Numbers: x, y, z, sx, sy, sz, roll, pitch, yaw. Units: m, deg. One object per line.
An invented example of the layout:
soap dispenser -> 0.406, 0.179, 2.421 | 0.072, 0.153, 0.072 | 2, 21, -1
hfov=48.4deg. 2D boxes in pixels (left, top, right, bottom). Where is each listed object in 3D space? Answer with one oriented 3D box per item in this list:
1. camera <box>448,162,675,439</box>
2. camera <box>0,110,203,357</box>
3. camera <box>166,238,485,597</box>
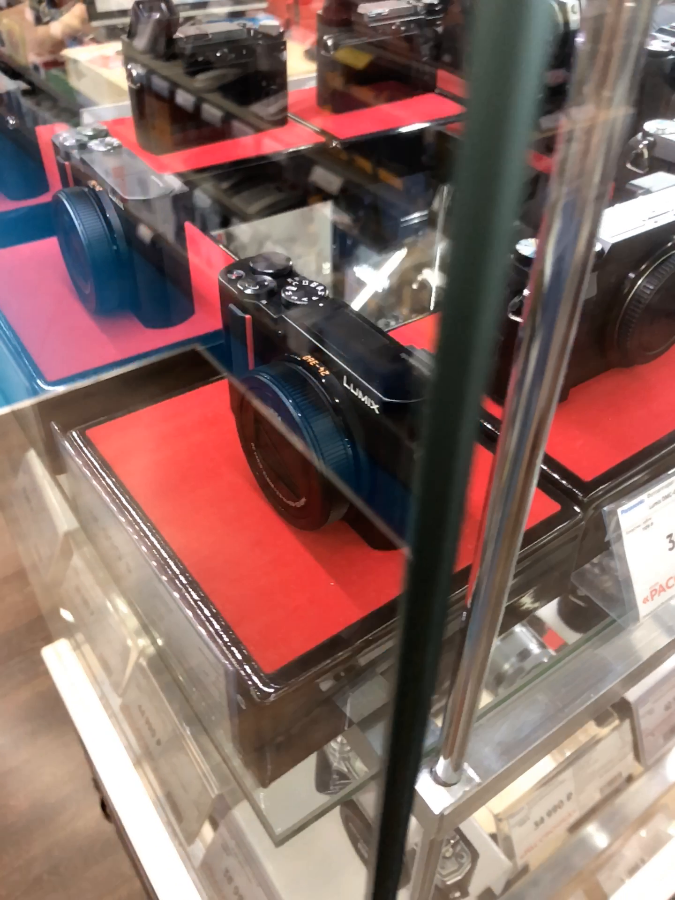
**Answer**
camera -> 0.107, -0.067, 0.322 | 0.102, 0.076, 0.054 | -25, 47, -27
camera -> -0.122, -0.115, 0.385 | 0.055, 0.076, 0.114 | -22, 46, -25
camera -> -0.009, -0.017, 0.271 | 0.052, 0.070, 0.110 | -25, 47, -27
